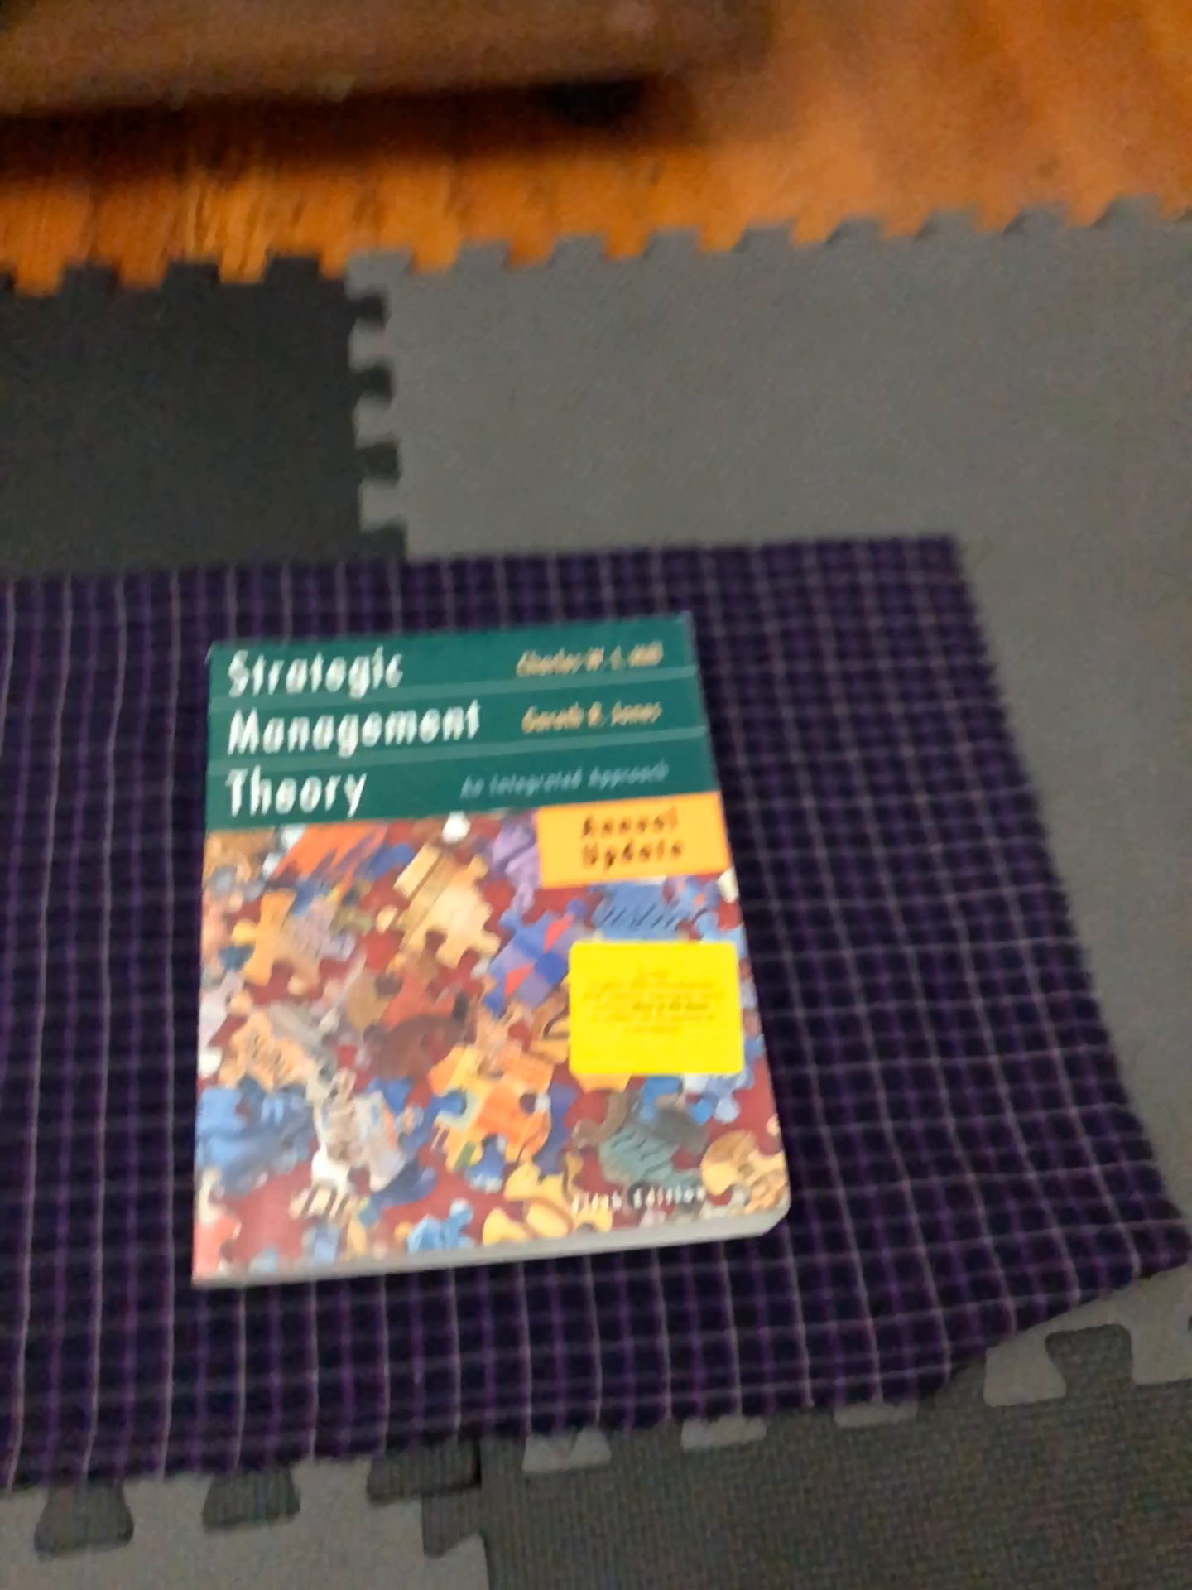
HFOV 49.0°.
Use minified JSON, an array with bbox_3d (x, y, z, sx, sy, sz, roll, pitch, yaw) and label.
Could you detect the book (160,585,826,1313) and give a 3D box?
[{"bbox_3d":[-0.047,0.048,0.533,0.230,0.040,0.281,-4,64,-4],"label":"book"}]
